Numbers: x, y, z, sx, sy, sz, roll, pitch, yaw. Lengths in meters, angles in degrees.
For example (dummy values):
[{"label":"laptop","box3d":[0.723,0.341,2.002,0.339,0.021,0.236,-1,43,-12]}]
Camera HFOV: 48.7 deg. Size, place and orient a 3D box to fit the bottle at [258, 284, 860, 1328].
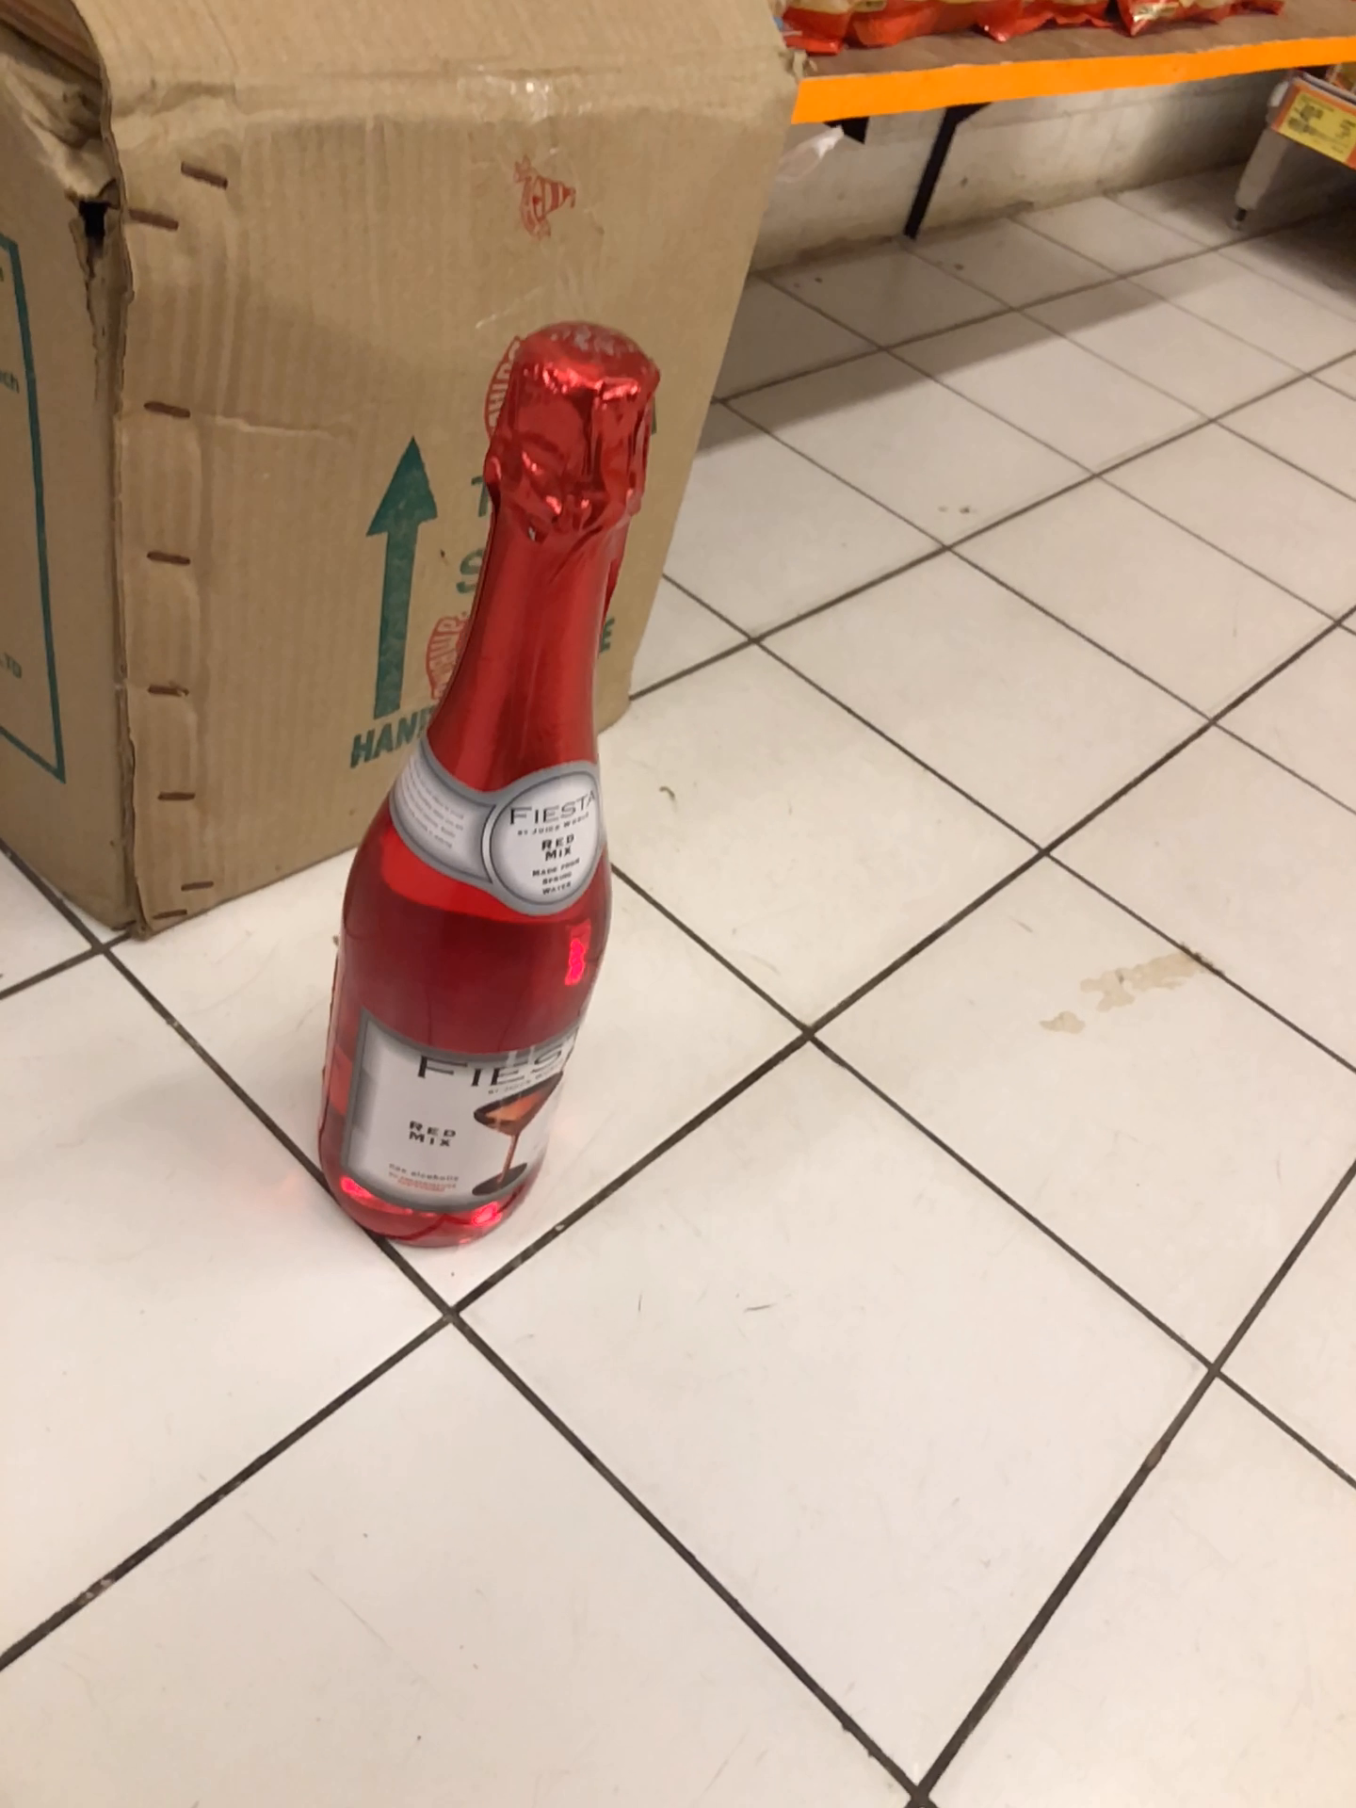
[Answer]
[{"label":"bottle","box3d":[-0.052,-0.008,0.427,0.091,0.298,0.080,-26,58,-37]}]
